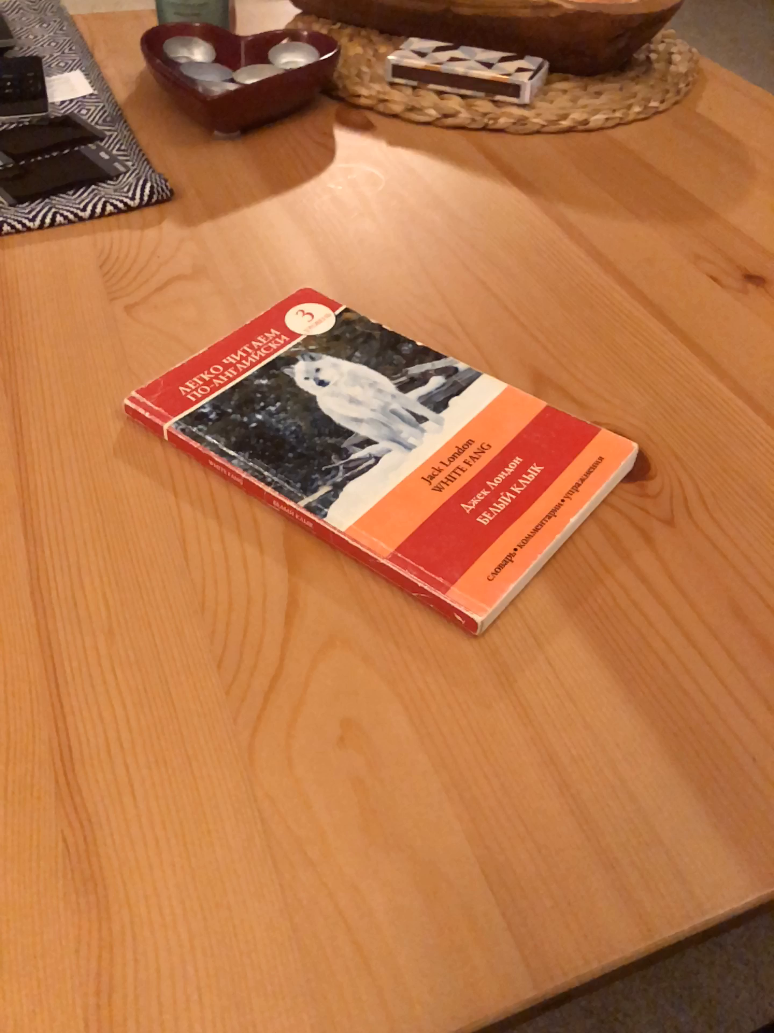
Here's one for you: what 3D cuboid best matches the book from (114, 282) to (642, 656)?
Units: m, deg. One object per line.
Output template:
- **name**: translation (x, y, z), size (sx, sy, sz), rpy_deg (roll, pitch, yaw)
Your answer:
- **book**: translation (-0.006, -0.037, 0.396), size (0.205, 0.020, 0.129), rpy_deg (30, 52, 24)
